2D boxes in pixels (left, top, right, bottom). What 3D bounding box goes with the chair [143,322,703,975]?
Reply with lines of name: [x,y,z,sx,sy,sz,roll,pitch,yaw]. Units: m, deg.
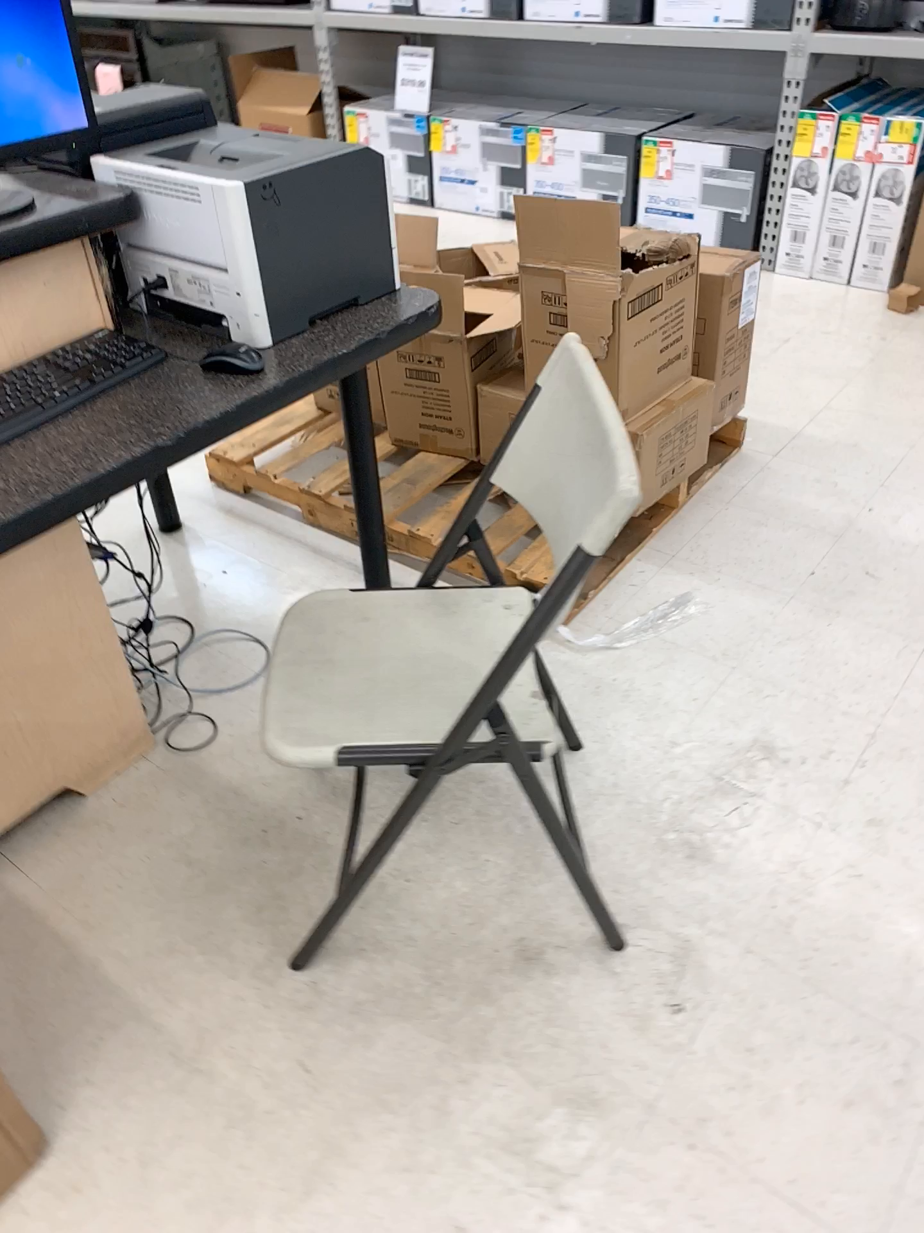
chair: [-0.037,0.050,1.379,0.560,0.746,0.533,-4,38,-1]
